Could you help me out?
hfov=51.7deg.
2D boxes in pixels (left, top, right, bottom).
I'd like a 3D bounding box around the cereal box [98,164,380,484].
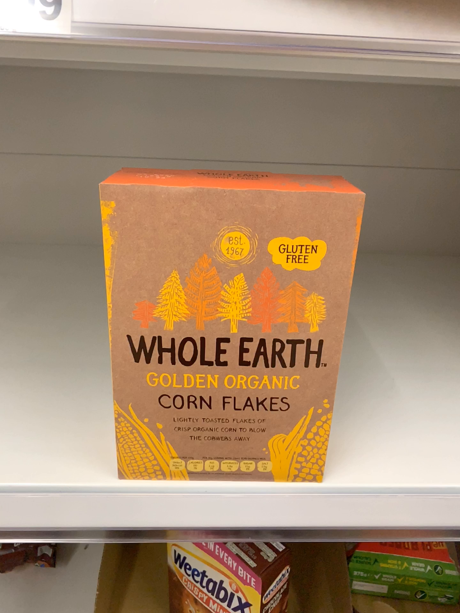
[{"bbox_3d":[0.001,0.020,0.429,0.200,0.268,0.091,2,23,-2],"label":"cereal box"}]
